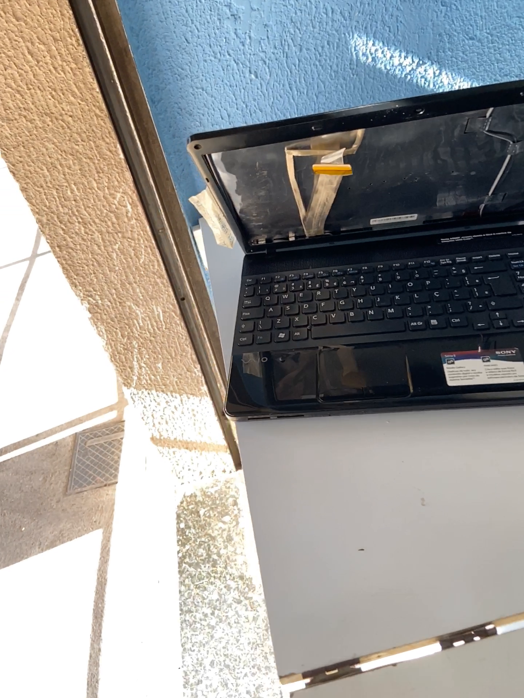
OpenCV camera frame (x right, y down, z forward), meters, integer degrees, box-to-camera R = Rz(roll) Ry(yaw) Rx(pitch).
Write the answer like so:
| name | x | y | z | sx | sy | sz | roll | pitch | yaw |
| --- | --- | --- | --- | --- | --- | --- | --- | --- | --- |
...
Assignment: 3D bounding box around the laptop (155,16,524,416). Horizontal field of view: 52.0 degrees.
| name | x | y | z | sx | sy | sz | roll | pitch | yaw |
| --- | --- | --- | --- | --- | --- | --- | --- | --- | --- |
| laptop | 0.133 | -0.113 | 0.473 | 0.364 | 0.193 | 0.243 | -5 | 44 | 10 |
